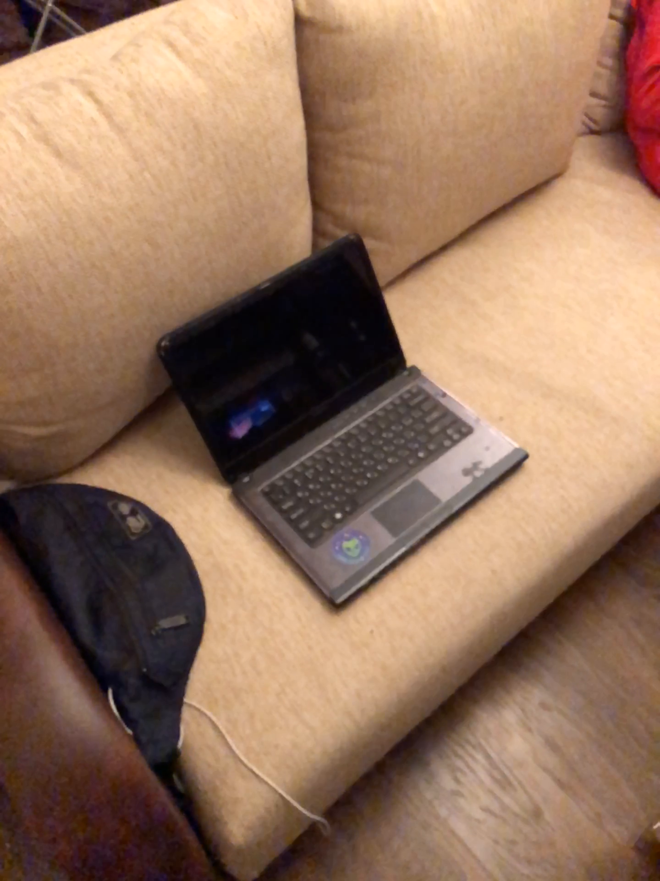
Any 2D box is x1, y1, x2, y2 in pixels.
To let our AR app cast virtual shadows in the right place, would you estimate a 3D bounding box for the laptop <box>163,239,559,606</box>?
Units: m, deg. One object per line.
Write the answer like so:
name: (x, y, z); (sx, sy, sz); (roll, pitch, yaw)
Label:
laptop: (0.032, -0.044, 0.966); (0.338, 0.174, 0.350); (-34, 59, -22)
